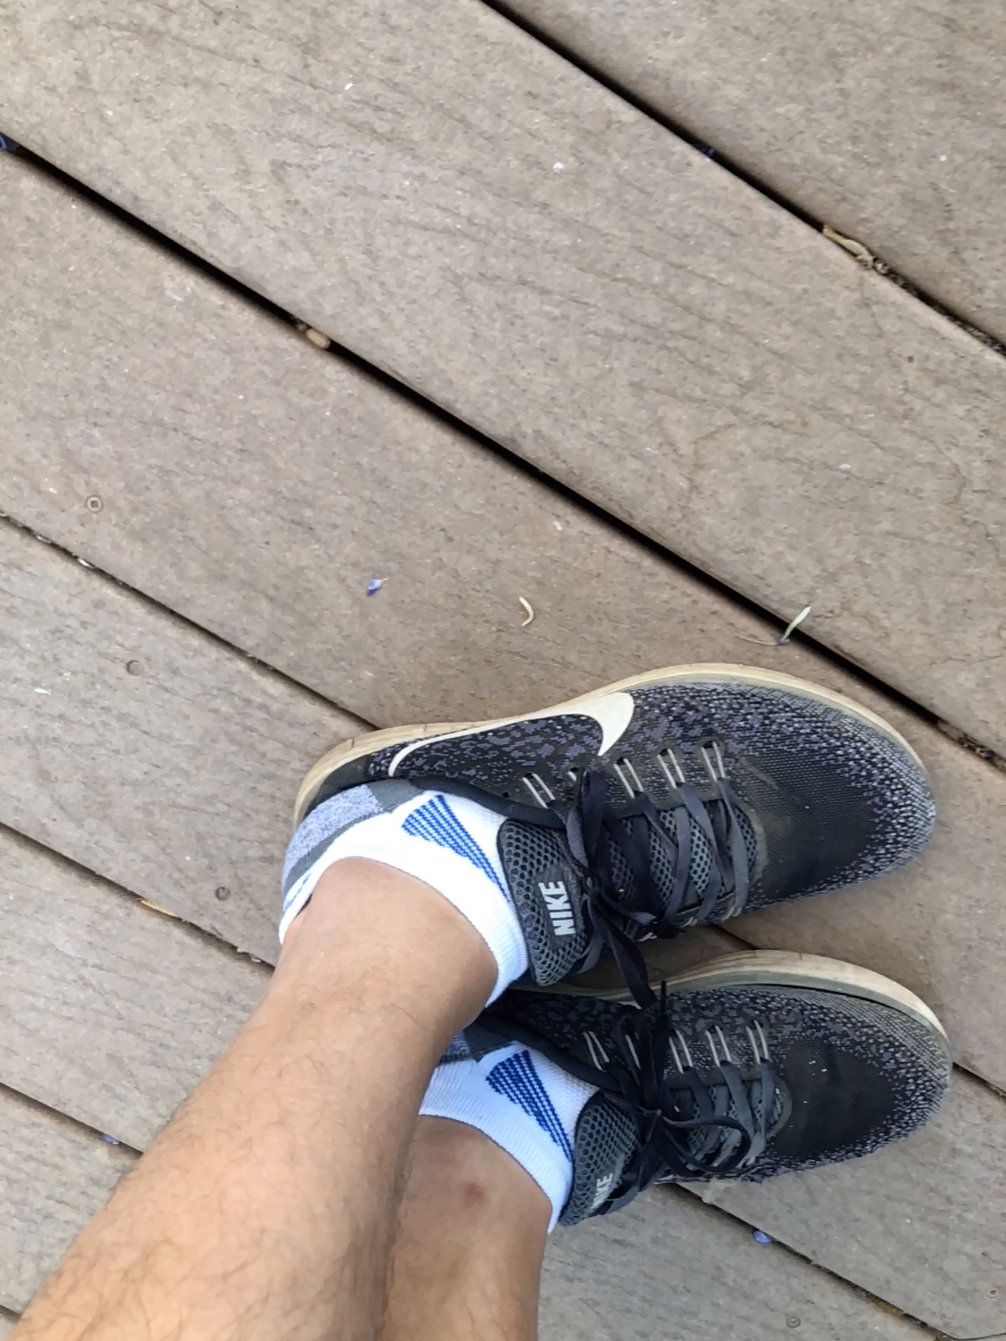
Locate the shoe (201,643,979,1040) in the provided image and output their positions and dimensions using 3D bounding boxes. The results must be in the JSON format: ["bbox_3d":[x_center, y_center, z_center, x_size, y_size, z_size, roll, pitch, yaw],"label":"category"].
[{"bbox_3d":[0.038,0.072,0.489,0.300,0.090,0.120,-5,108,3],"label":"shoe"}]

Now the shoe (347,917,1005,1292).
[{"bbox_3d":[0.074,0.200,0.522,0.270,0.100,0.120,-3,108,2],"label":"shoe"}]

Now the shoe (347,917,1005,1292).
[{"bbox_3d":[0.074,0.200,0.522,0.270,0.100,0.120,-3,108,2],"label":"shoe"}]
